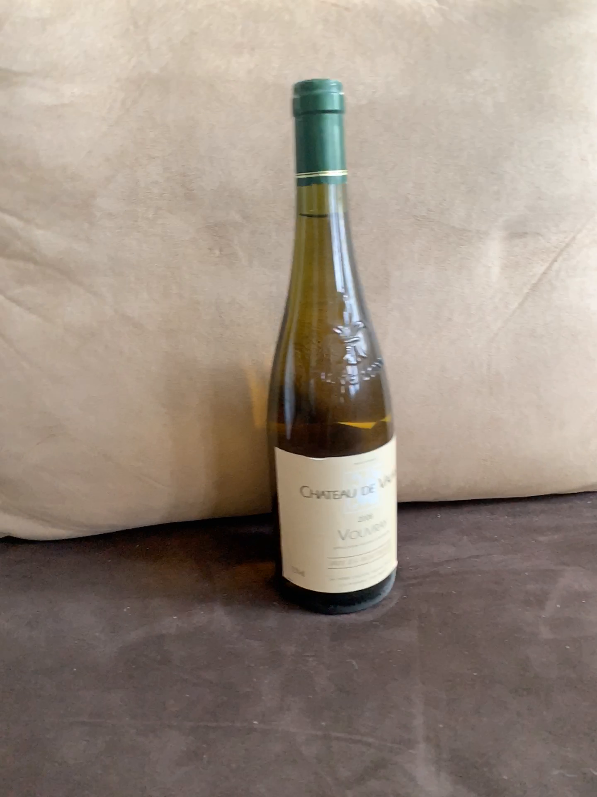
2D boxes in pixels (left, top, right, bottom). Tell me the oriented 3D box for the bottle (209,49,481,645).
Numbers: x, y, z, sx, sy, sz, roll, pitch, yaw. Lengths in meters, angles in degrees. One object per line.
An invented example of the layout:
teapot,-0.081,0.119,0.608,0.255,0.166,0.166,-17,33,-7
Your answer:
bottle,0.022,-0.022,0.360,0.100,0.308,0.090,-12,26,-24
